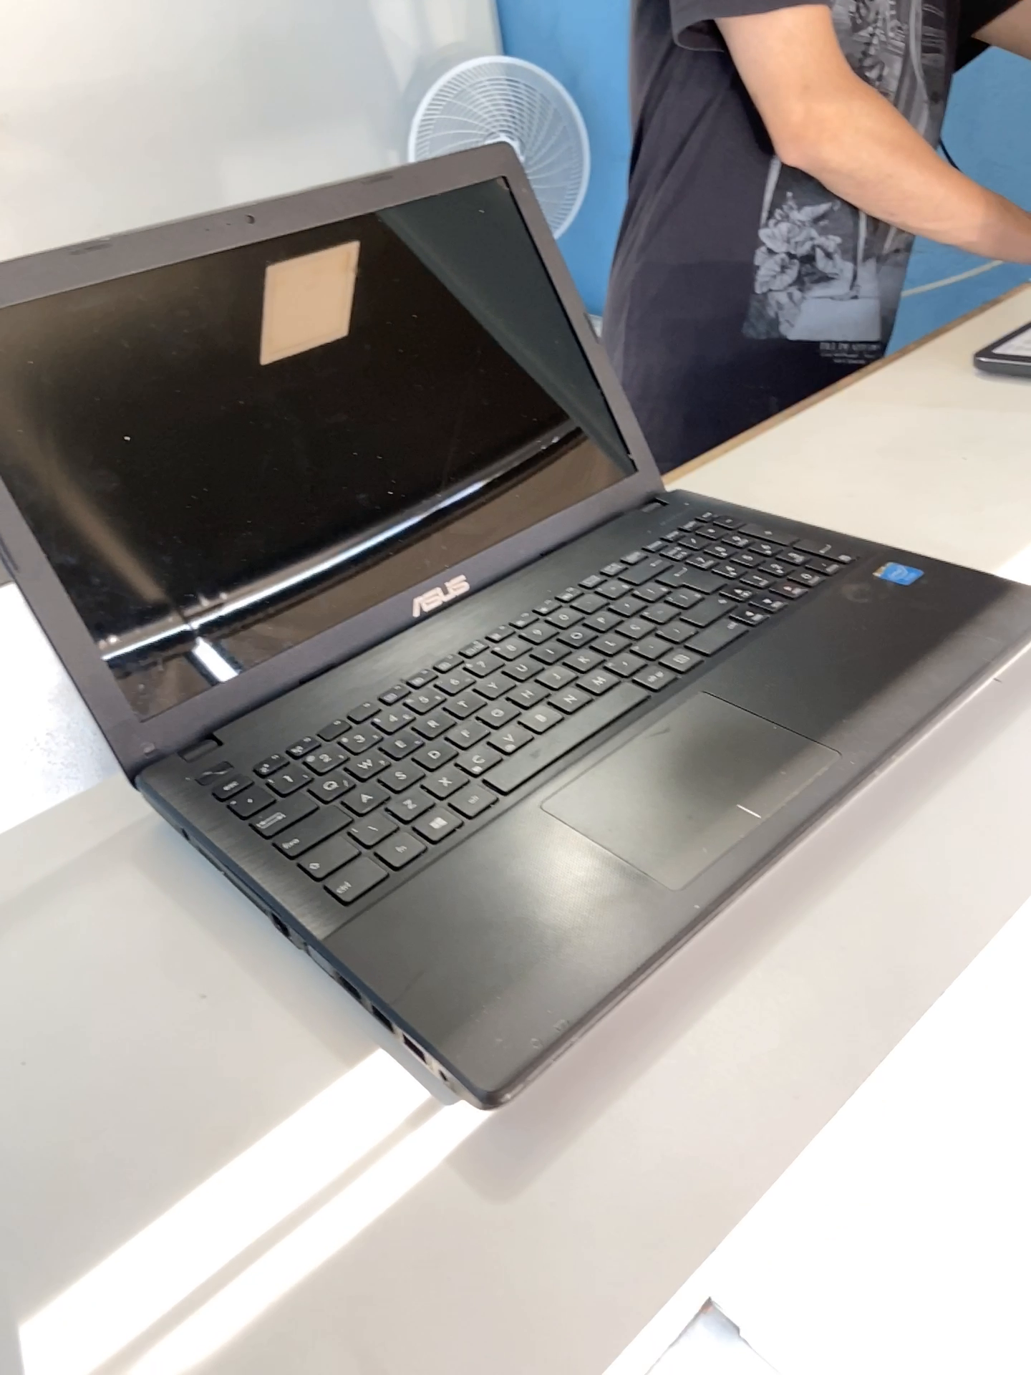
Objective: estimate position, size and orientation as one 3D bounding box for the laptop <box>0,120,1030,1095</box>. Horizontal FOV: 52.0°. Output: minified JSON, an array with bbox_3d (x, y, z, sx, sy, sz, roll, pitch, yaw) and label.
[{"bbox_3d":[-0.009,-0.105,0.480,0.368,0.201,0.362,-32,38,-30],"label":"laptop"}]
